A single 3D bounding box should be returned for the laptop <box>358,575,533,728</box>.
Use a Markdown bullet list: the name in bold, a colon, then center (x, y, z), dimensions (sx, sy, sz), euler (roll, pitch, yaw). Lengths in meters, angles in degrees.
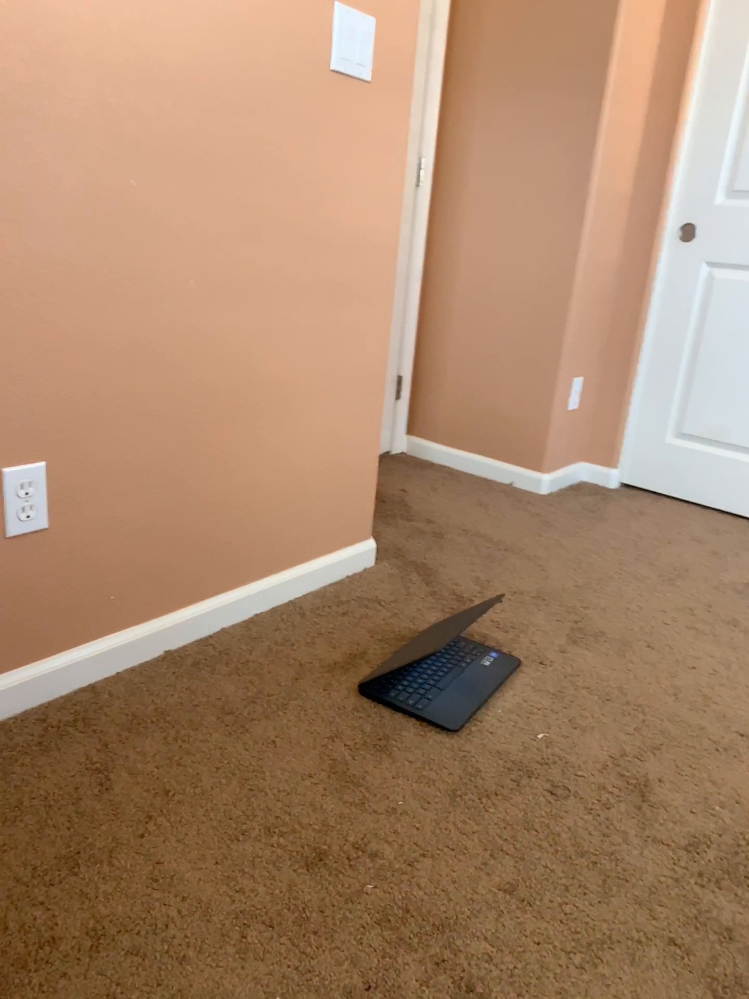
- **laptop**: center (0.137, 0.267, 1.423), dimensions (0.195, 0.127, 0.290), euler (14, 20, 30)
